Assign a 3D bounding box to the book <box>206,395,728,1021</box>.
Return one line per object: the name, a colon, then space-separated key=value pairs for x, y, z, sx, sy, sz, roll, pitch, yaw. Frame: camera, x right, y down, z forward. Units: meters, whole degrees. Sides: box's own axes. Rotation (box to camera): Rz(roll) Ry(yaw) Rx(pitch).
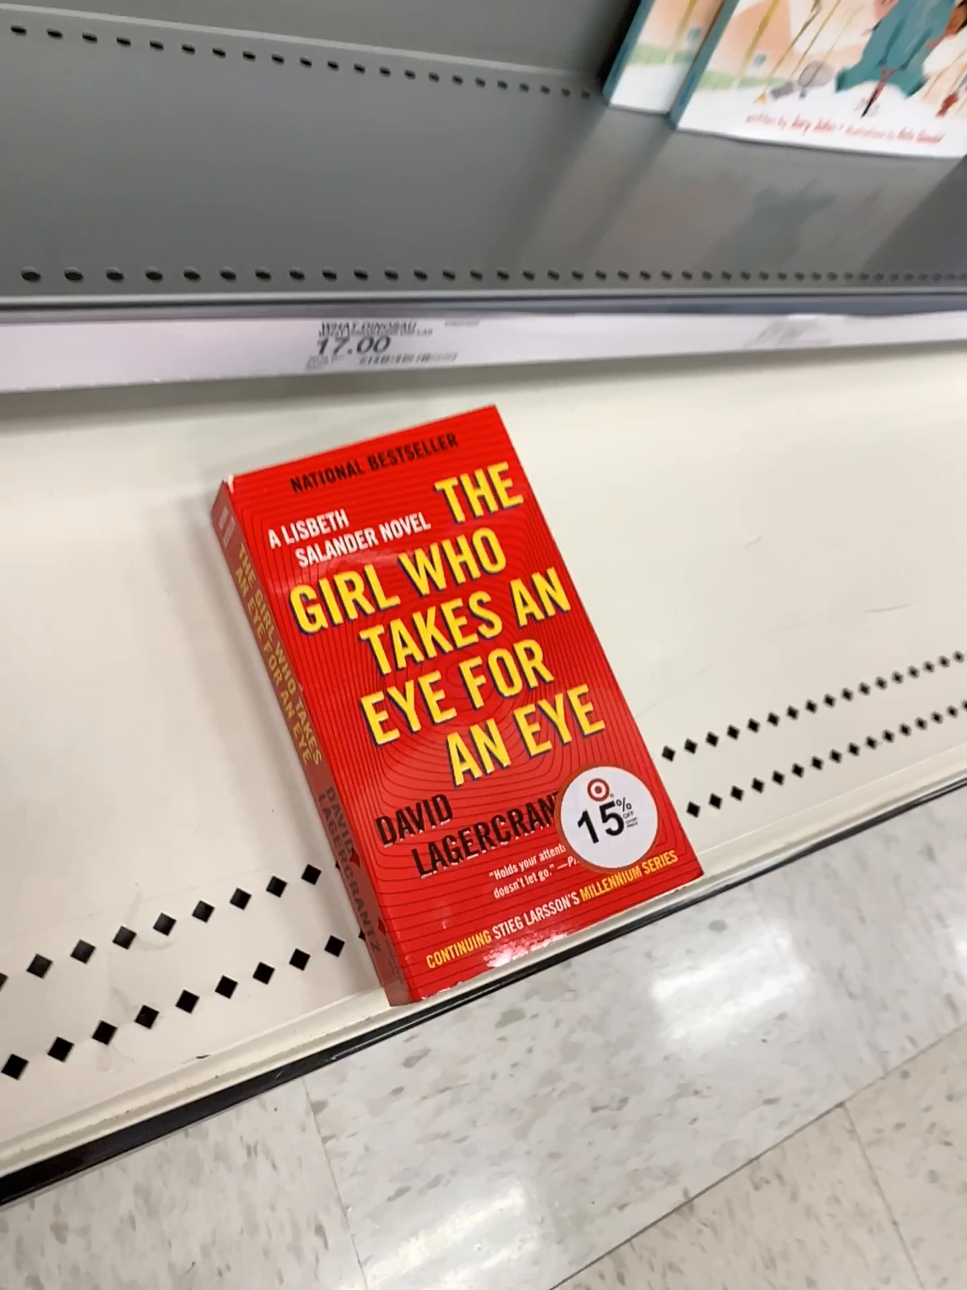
book: x=-0.009 y=0.013 z=0.363 sx=0.115 sy=0.046 sz=0.199 roll=-16 pitch=76 yaw=-30
